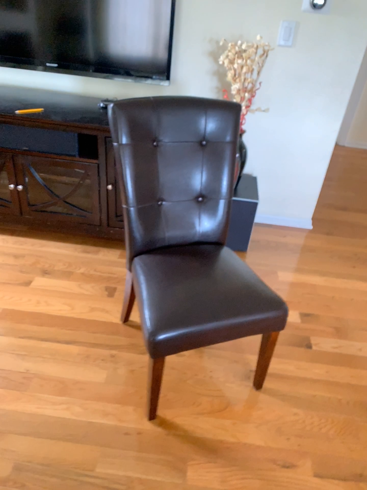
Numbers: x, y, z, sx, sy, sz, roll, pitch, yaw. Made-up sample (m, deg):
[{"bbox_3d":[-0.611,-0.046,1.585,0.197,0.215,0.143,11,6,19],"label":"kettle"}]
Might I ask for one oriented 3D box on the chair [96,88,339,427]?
[{"bbox_3d":[-0.001,0.013,1.416,0.498,0.968,0.706,-7,36,-19],"label":"chair"}]
